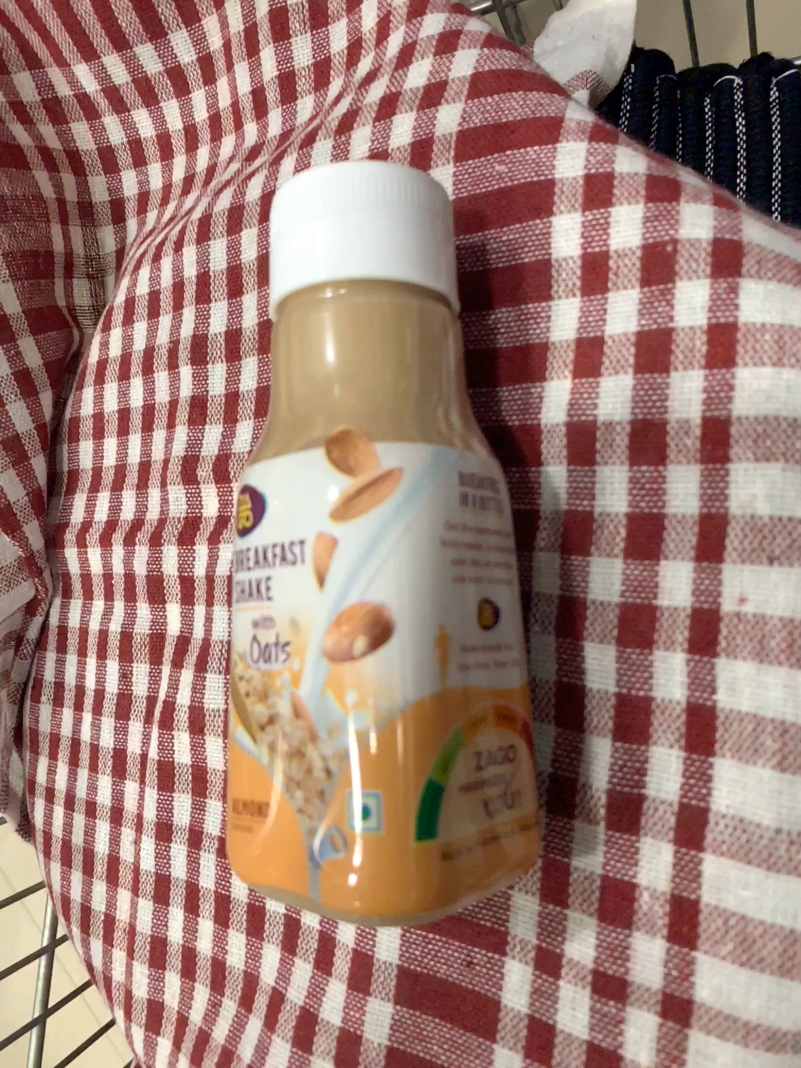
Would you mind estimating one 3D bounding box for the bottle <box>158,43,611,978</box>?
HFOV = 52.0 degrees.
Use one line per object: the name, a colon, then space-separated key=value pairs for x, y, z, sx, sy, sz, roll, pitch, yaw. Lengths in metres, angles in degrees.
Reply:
bottle: x=-0.002 y=-0.003 z=0.160 sx=0.060 sy=0.050 sz=0.140 roll=-5 pitch=88 yaw=33
